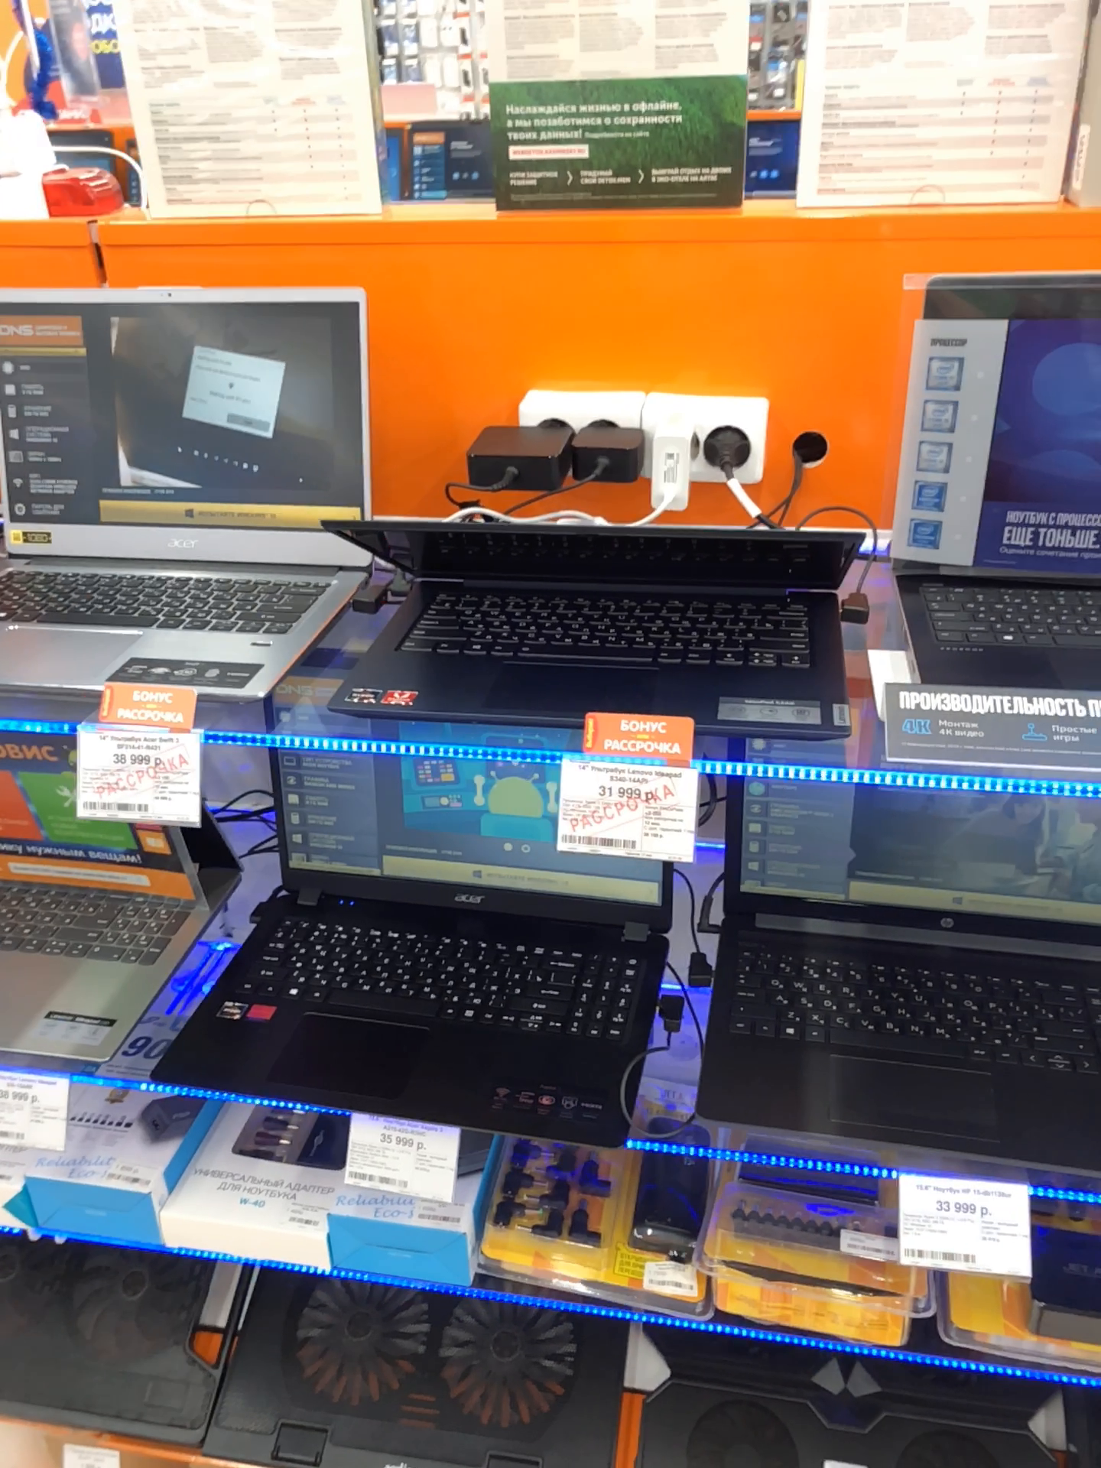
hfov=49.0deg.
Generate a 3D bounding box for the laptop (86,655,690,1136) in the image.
[{"bbox_3d":[-0.093,0.102,0.901,0.342,0.230,0.247,4,28,14],"label":"laptop"}]

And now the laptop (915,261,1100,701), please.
[{"bbox_3d":[0.399,-0.166,0.747,0.306,0.213,0.229,4,26,12],"label":"laptop"}]

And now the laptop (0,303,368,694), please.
[{"bbox_3d":[-0.329,-0.175,0.837,0.315,0.203,0.225,4,28,10],"label":"laptop"}]

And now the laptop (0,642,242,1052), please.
[{"bbox_3d":[-0.484,0.078,0.973,0.348,0.207,0.236,4,28,9],"label":"laptop"}]

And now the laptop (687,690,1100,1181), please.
[{"bbox_3d":[0.290,0.122,0.839,0.352,0.215,0.226,4,27,13],"label":"laptop"}]

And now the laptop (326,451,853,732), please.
[{"bbox_3d":[0.036,-0.104,0.789,0.299,0.106,0.212,3,28,12],"label":"laptop"}]
